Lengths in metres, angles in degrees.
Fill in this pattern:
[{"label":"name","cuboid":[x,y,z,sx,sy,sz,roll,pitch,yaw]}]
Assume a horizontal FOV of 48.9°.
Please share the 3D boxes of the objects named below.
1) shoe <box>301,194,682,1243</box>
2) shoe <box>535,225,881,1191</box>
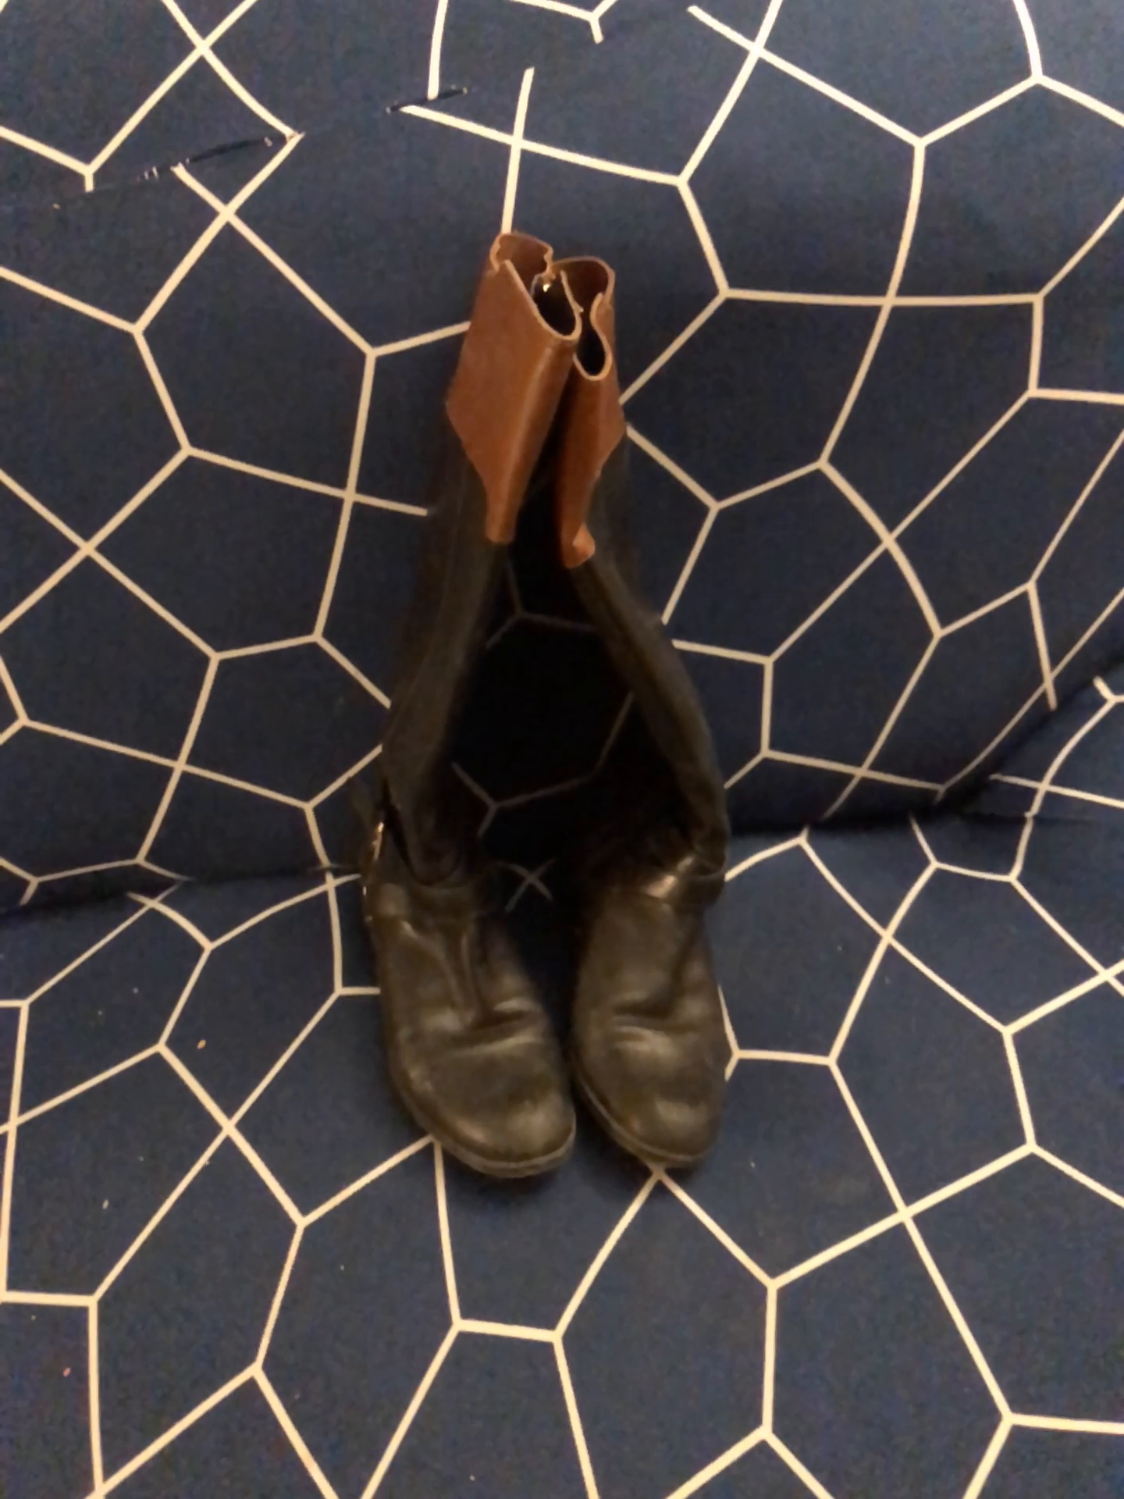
[{"label":"shoe","cuboid":[-0.049,-0.002,0.602,0.110,0.427,0.272,-5,41,-8]},{"label":"shoe","cuboid":[0.042,-0.006,0.577,0.100,0.378,0.252,0,42,0]}]
